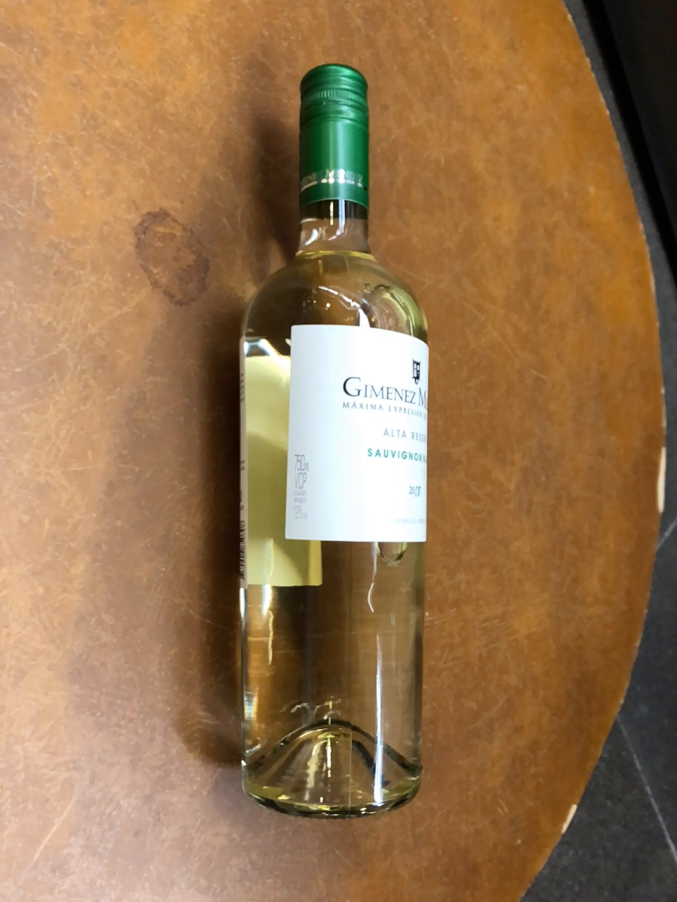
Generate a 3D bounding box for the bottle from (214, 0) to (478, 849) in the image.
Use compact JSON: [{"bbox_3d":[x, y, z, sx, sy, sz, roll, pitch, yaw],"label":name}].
[{"bbox_3d":[0.004,-0.018,0.304,0.091,0.050,0.300,5,83,-40],"label":"bottle"}]
